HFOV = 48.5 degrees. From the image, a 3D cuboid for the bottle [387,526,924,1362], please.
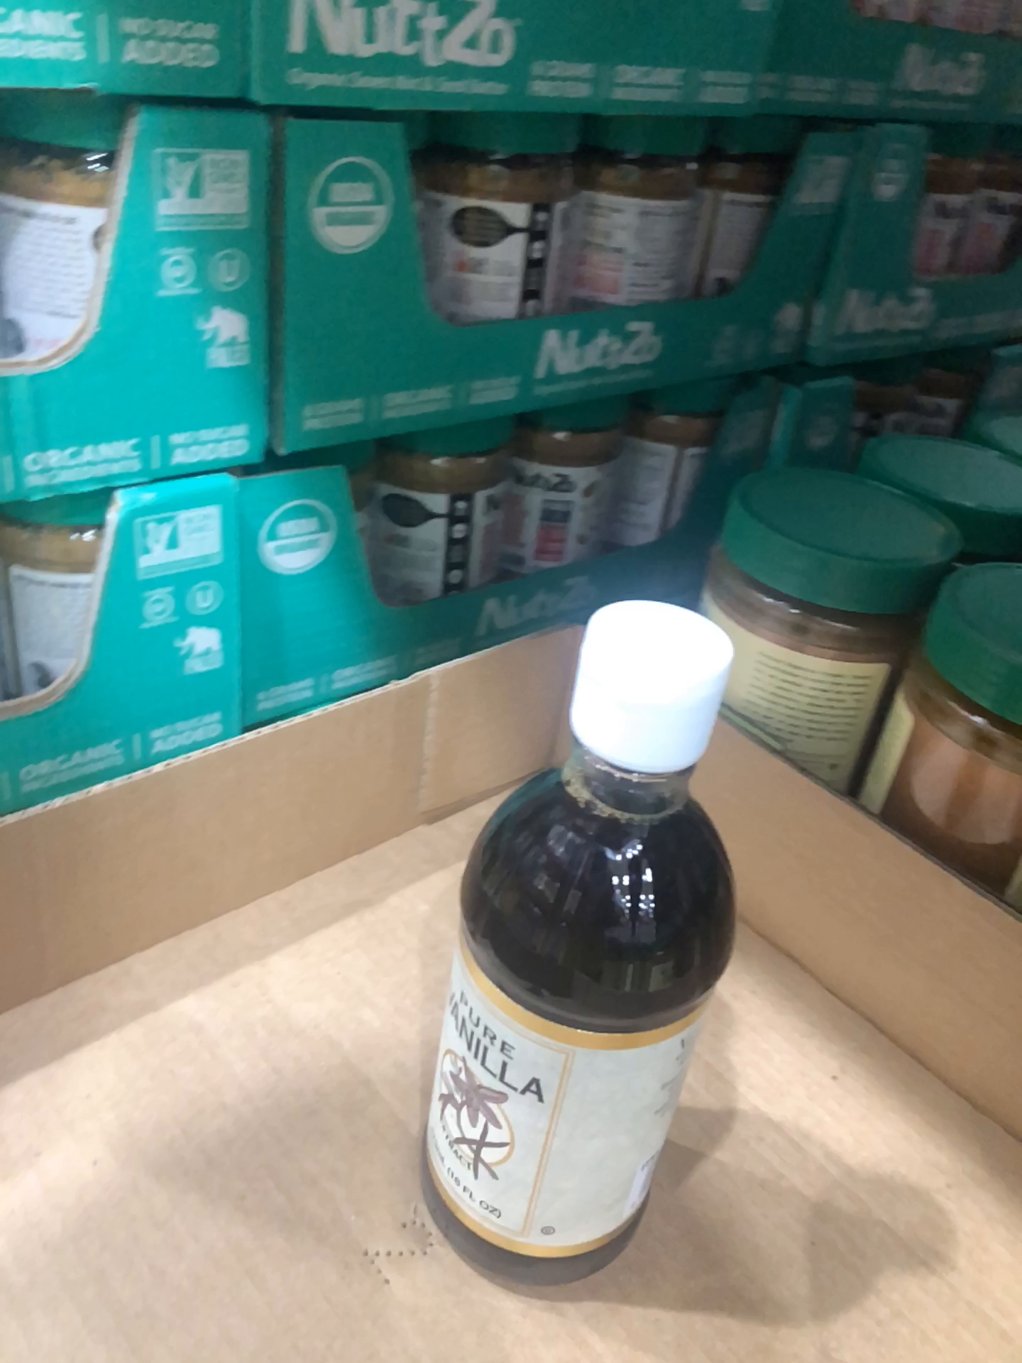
[{"bbox_3d":[0.023,0.072,0.286,0.070,0.199,0.070,6,32,-4],"label":"bottle"}]
